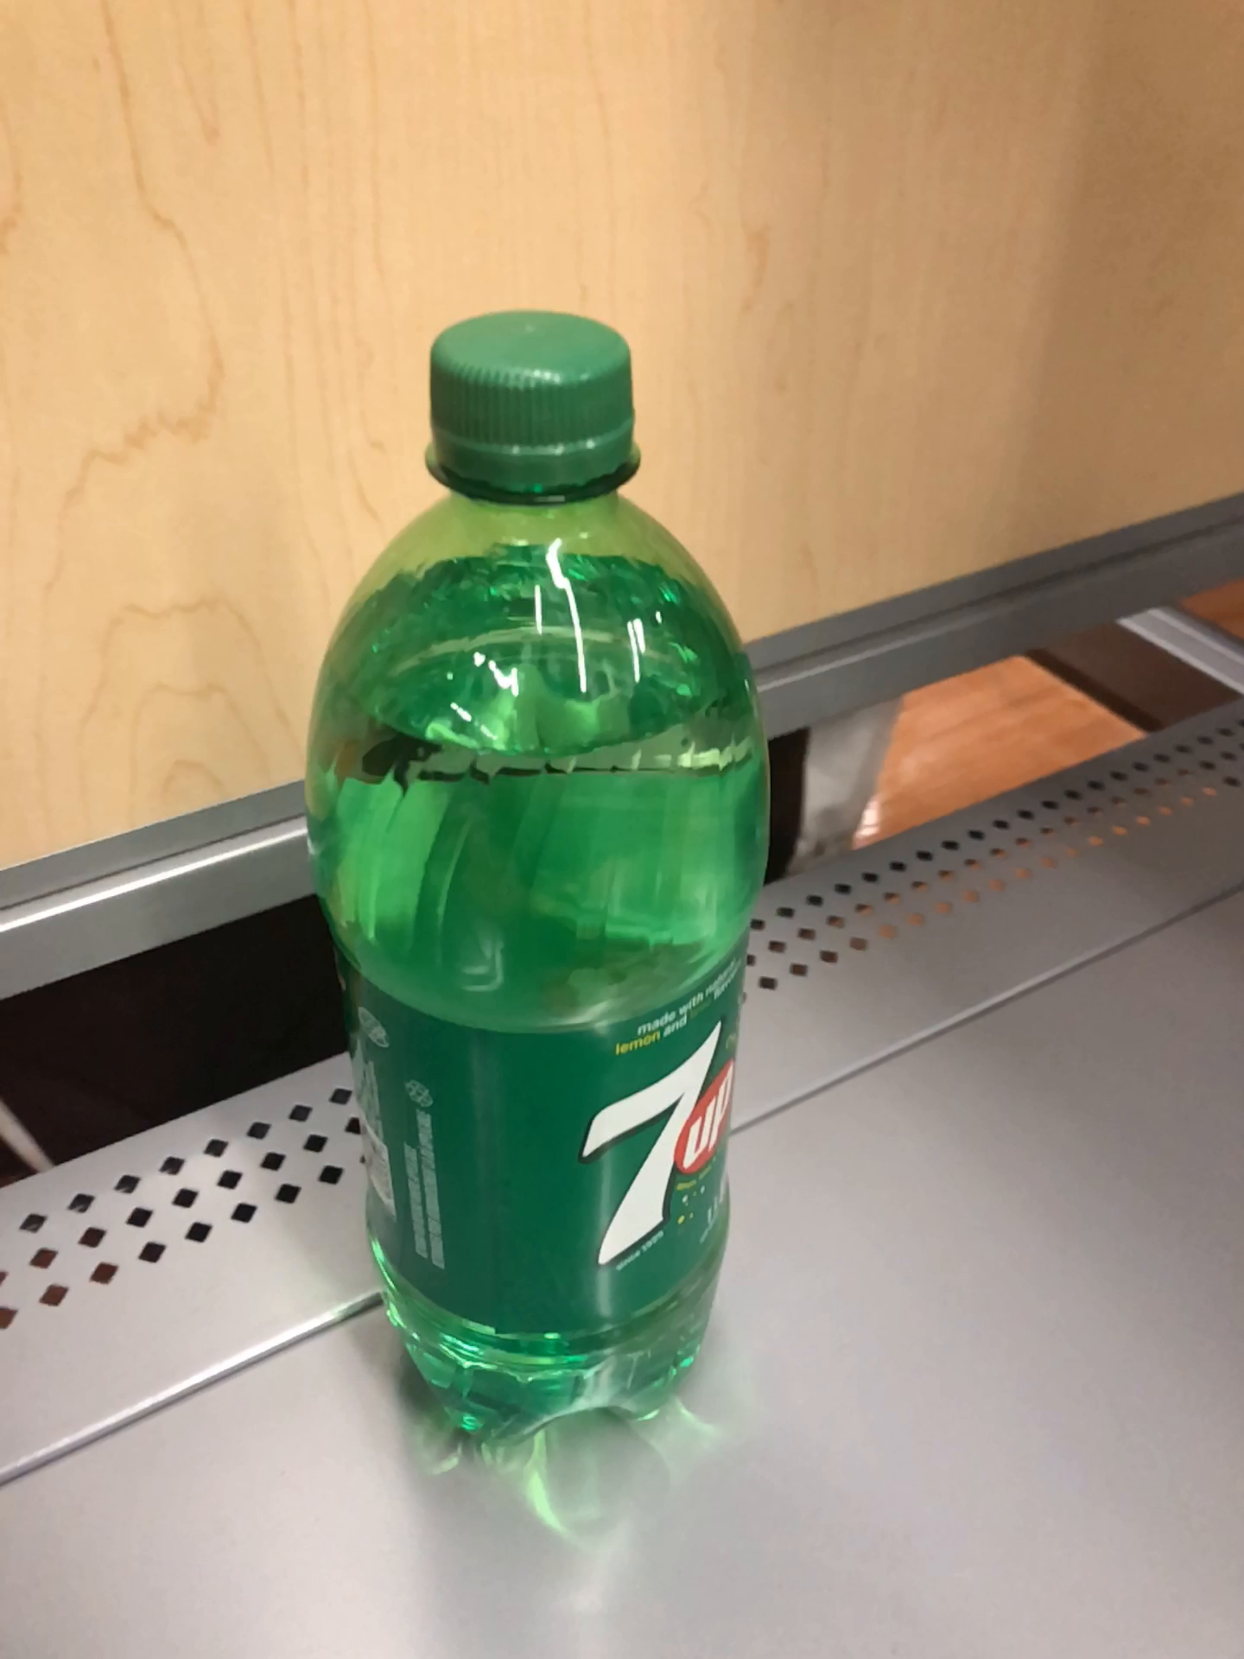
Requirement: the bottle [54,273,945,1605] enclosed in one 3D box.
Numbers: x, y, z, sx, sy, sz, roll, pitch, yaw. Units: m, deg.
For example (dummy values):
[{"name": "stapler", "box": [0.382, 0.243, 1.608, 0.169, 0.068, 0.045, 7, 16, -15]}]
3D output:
[{"name": "bottle", "box": [-0.018, 0.033, 0.272, 0.100, 0.238, 0.080, -30, 48, -34]}]
